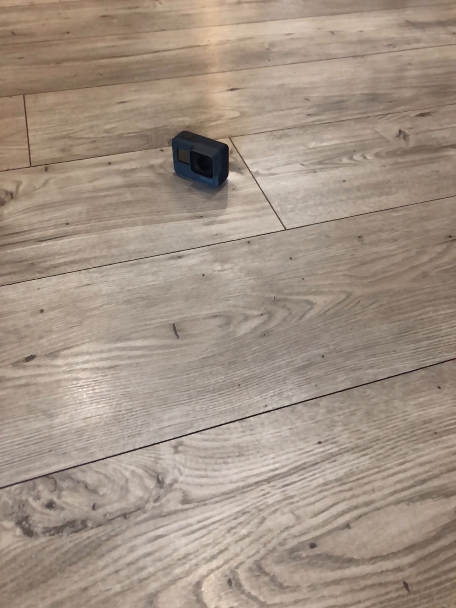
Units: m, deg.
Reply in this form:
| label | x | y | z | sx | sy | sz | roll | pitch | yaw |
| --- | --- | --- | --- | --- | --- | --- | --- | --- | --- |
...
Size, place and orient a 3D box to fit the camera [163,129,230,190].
| label | x | y | z | sx | sy | sz | roll | pitch | yaw |
| --- | --- | --- | --- | --- | --- | --- | --- | --- | --- |
| camera | -0.034 | -0.160 | 0.558 | 0.065 | 0.040 | 0.032 | 24 | 51 | 20 |
